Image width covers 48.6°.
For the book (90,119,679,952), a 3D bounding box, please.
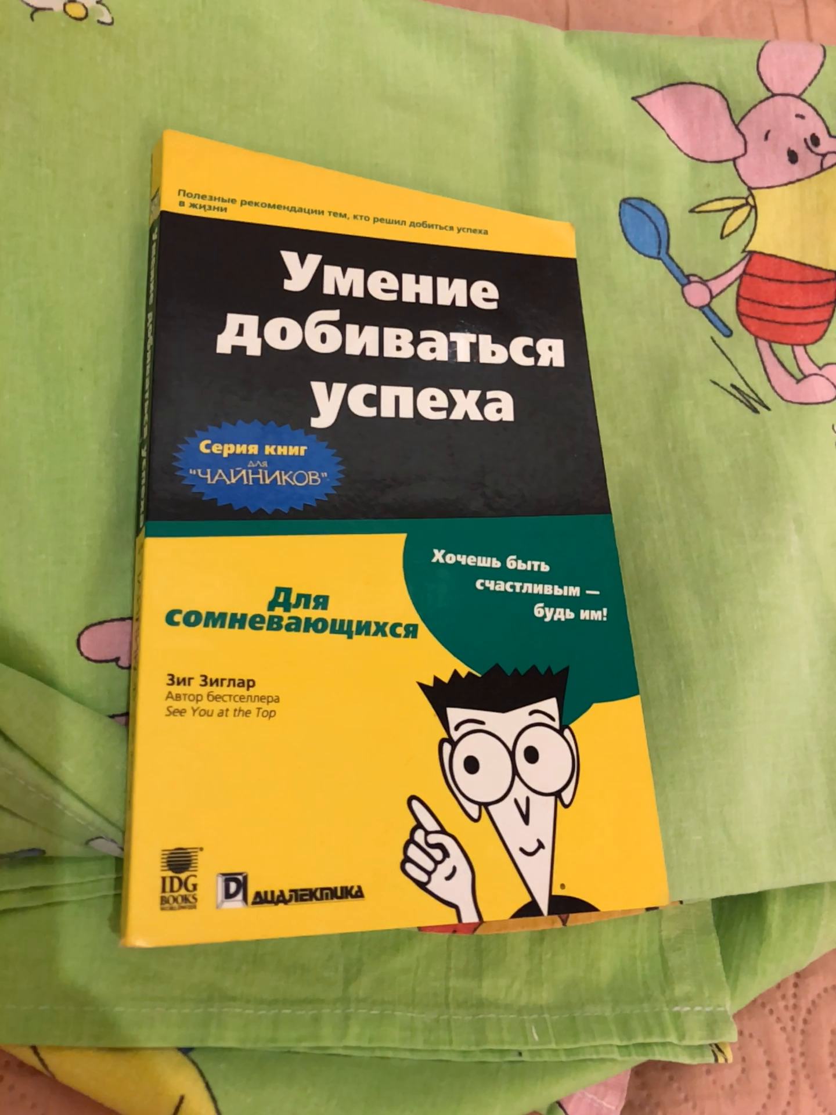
[{"bbox_3d":[-0.008,-0.013,0.226,0.125,0.015,0.191,5,68,-22],"label":"book"}]
